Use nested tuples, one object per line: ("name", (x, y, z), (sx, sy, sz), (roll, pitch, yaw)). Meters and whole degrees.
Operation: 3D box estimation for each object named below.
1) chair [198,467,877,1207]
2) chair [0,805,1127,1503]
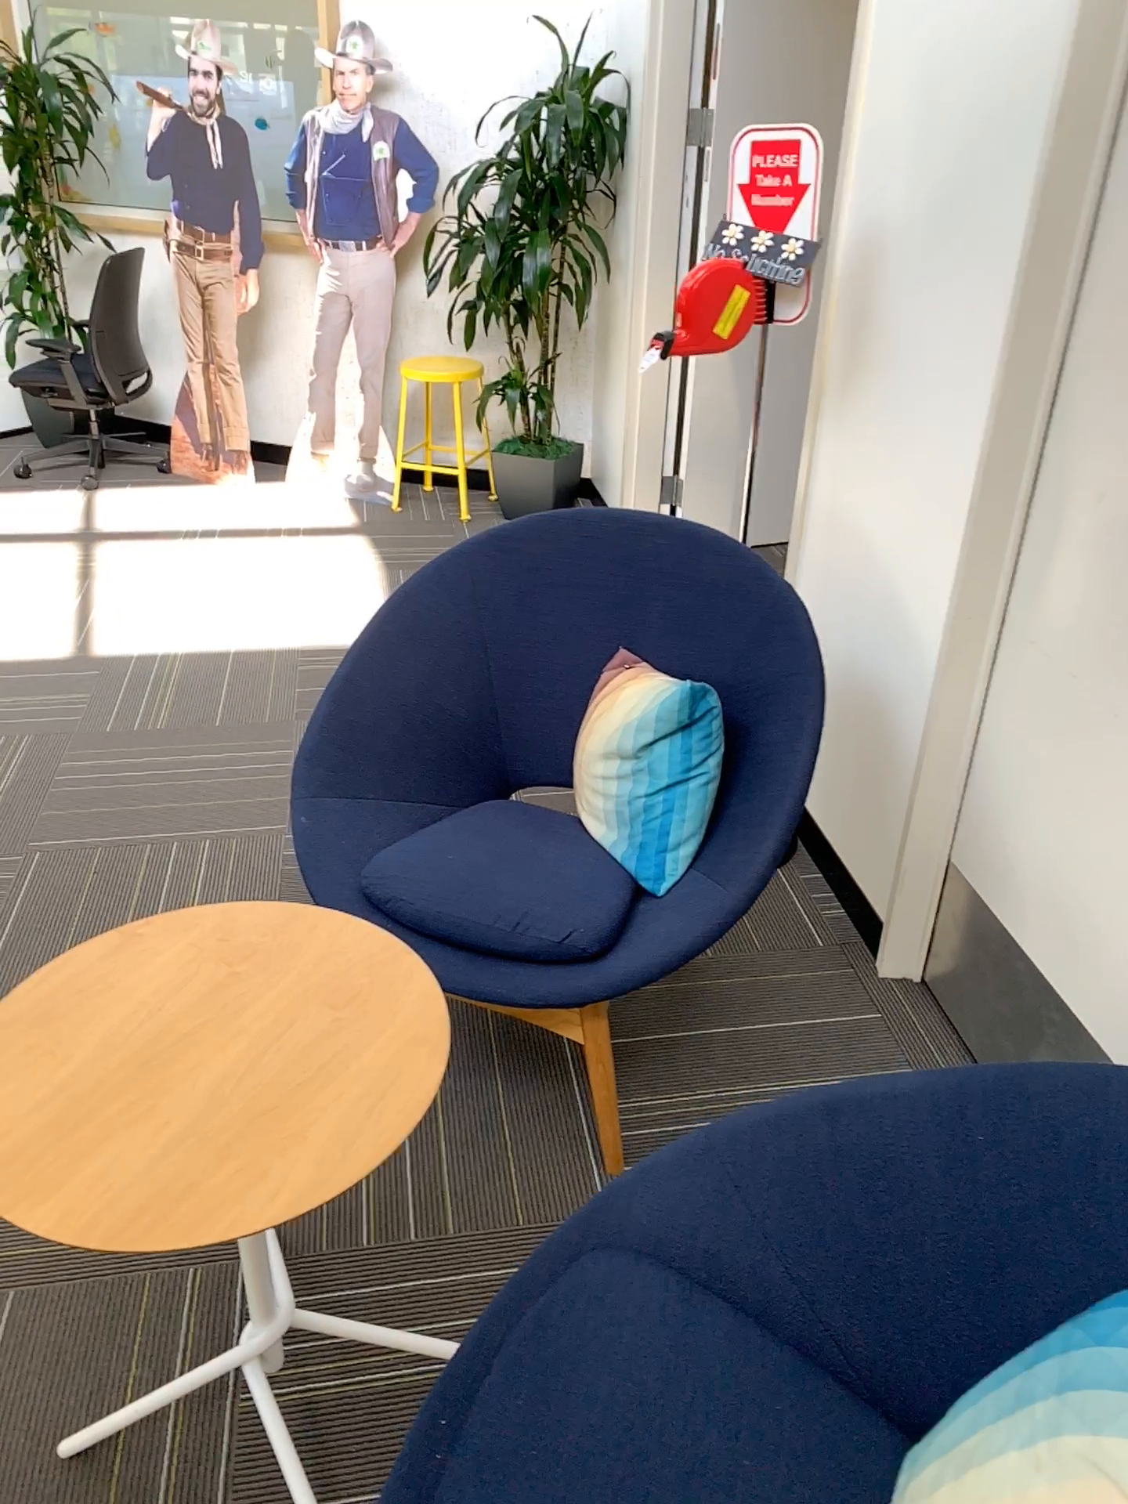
("chair", (-0.007, 0.062, 2.067), (0.792, 0.835, 0.843), (16, 32, 24))
("chair", (0.275, 0.781, 1.017), (0.983, 0.944, 0.832), (18, 33, 26))
